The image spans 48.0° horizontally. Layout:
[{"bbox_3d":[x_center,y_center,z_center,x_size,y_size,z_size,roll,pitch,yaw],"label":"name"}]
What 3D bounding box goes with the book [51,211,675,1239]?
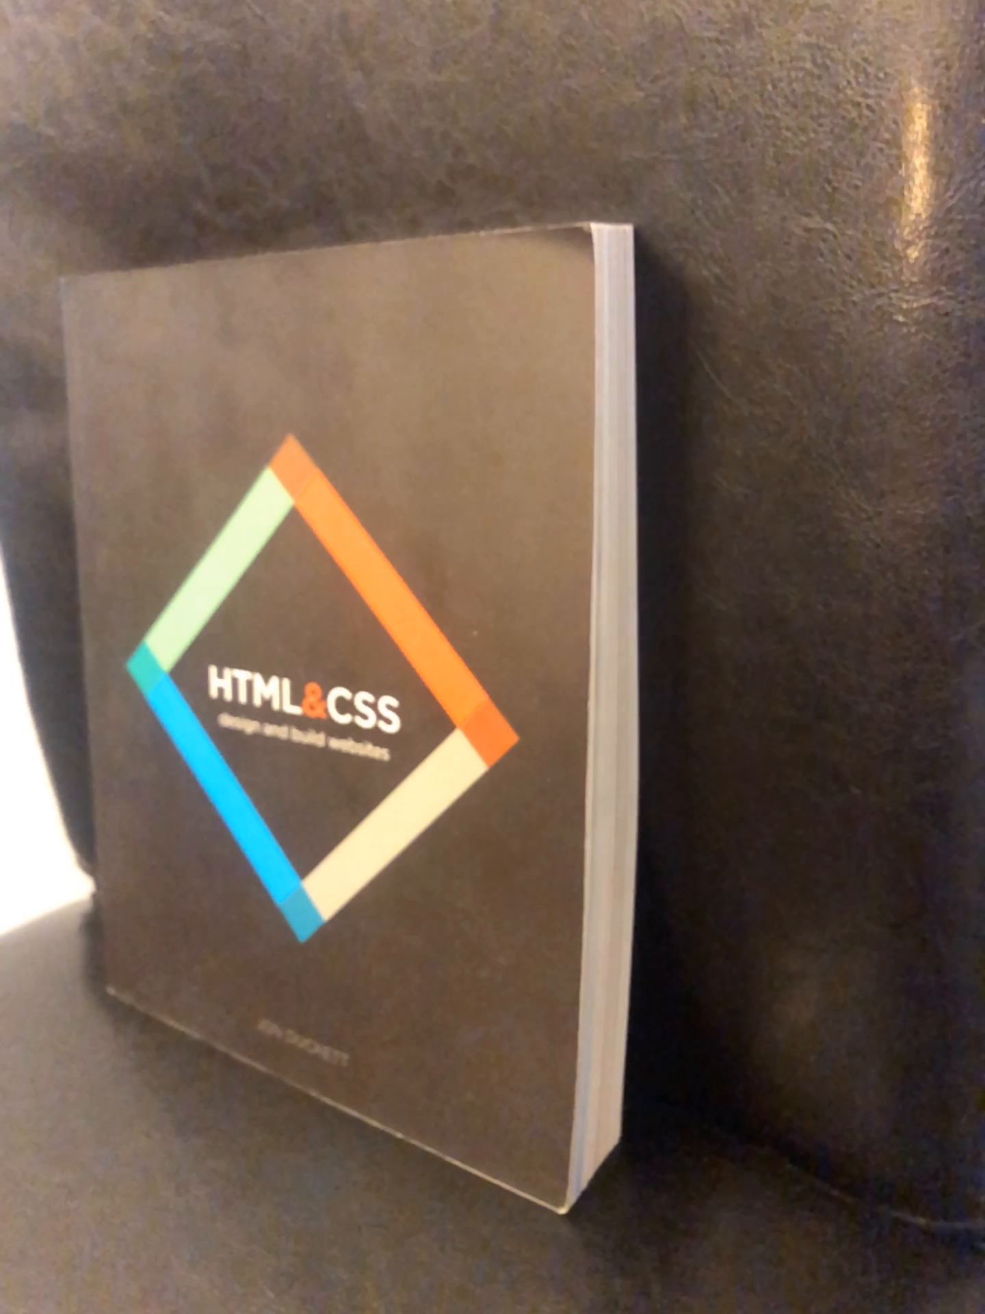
[{"bbox_3d":[-0.046,0.011,0.307,0.188,0.231,0.030,8,13,34],"label":"book"}]
